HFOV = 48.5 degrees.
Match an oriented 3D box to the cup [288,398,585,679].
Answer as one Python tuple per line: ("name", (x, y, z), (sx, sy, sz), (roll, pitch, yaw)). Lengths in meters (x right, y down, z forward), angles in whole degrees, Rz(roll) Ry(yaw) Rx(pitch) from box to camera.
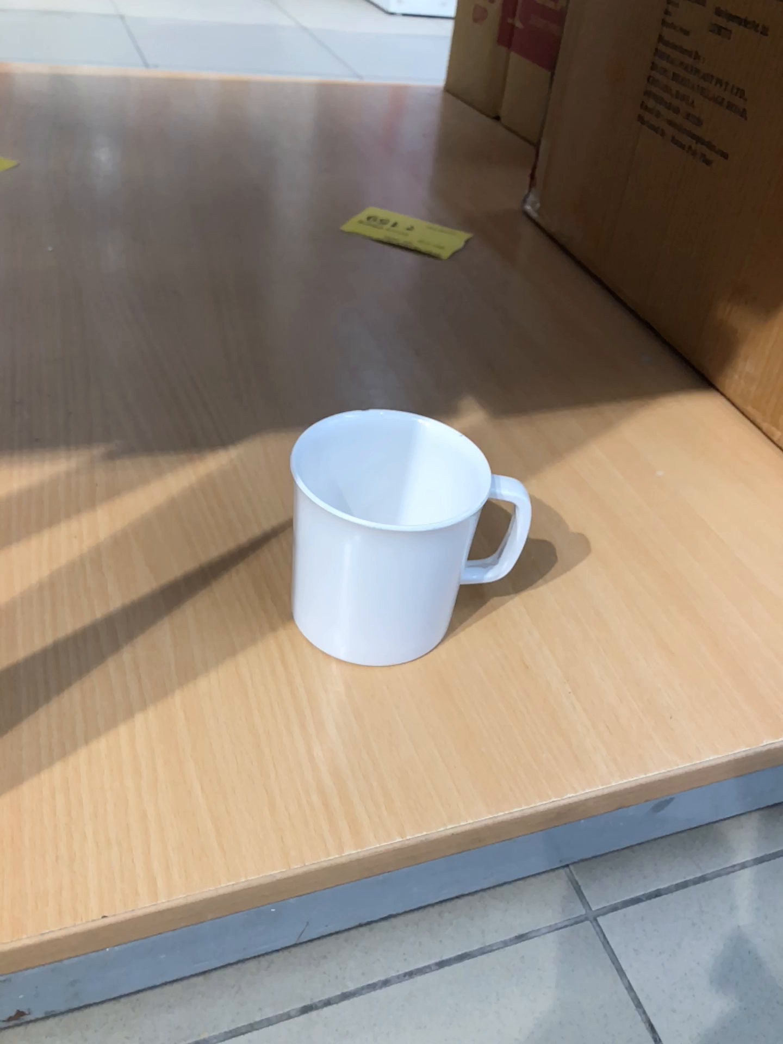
("cup", (0.012, 0.008, 0.386), (0.110, 0.089, 0.081), (2, 39, -8))
